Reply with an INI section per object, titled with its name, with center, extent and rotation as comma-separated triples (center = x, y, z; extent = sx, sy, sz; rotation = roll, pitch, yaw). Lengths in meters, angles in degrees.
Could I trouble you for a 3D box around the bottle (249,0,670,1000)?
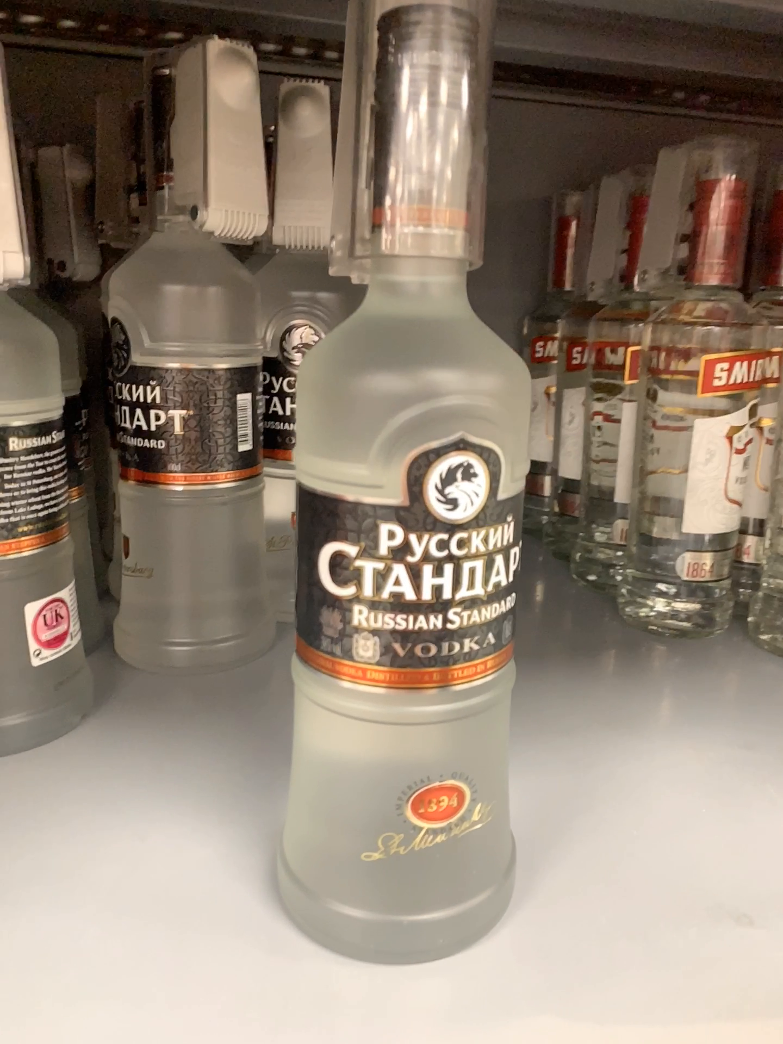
[bottle]
center = 0.008, -0.012, 0.256
extent = 0.092, 0.288, 0.088
rotation = 1, 14, 0
